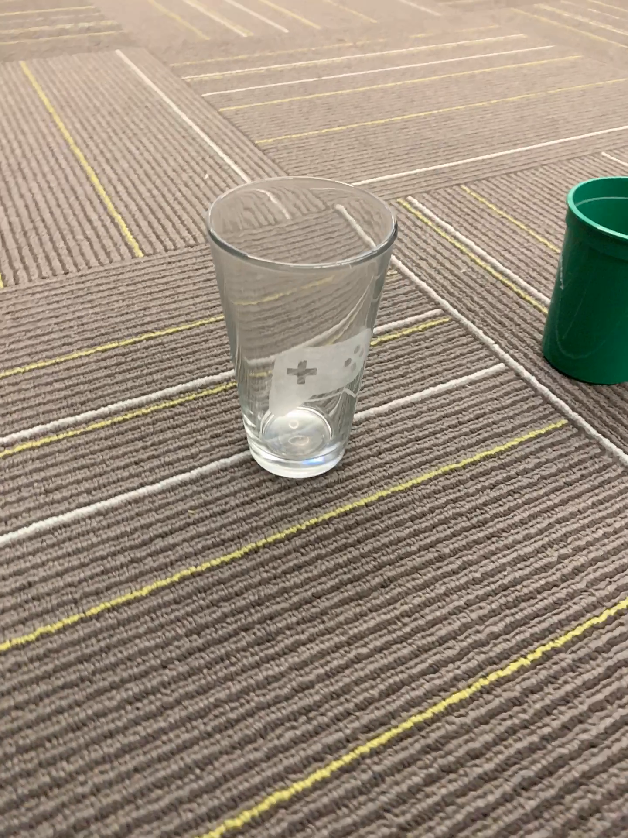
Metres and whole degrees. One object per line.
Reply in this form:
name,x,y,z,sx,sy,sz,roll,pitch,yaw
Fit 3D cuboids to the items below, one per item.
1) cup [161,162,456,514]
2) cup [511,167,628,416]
cup,-0.004,-0.041,0.318,0.090,0.119,0.090,0,43,0
cup,0.189,-0.079,0.407,0.070,0.119,0.080,-14,45,-15
